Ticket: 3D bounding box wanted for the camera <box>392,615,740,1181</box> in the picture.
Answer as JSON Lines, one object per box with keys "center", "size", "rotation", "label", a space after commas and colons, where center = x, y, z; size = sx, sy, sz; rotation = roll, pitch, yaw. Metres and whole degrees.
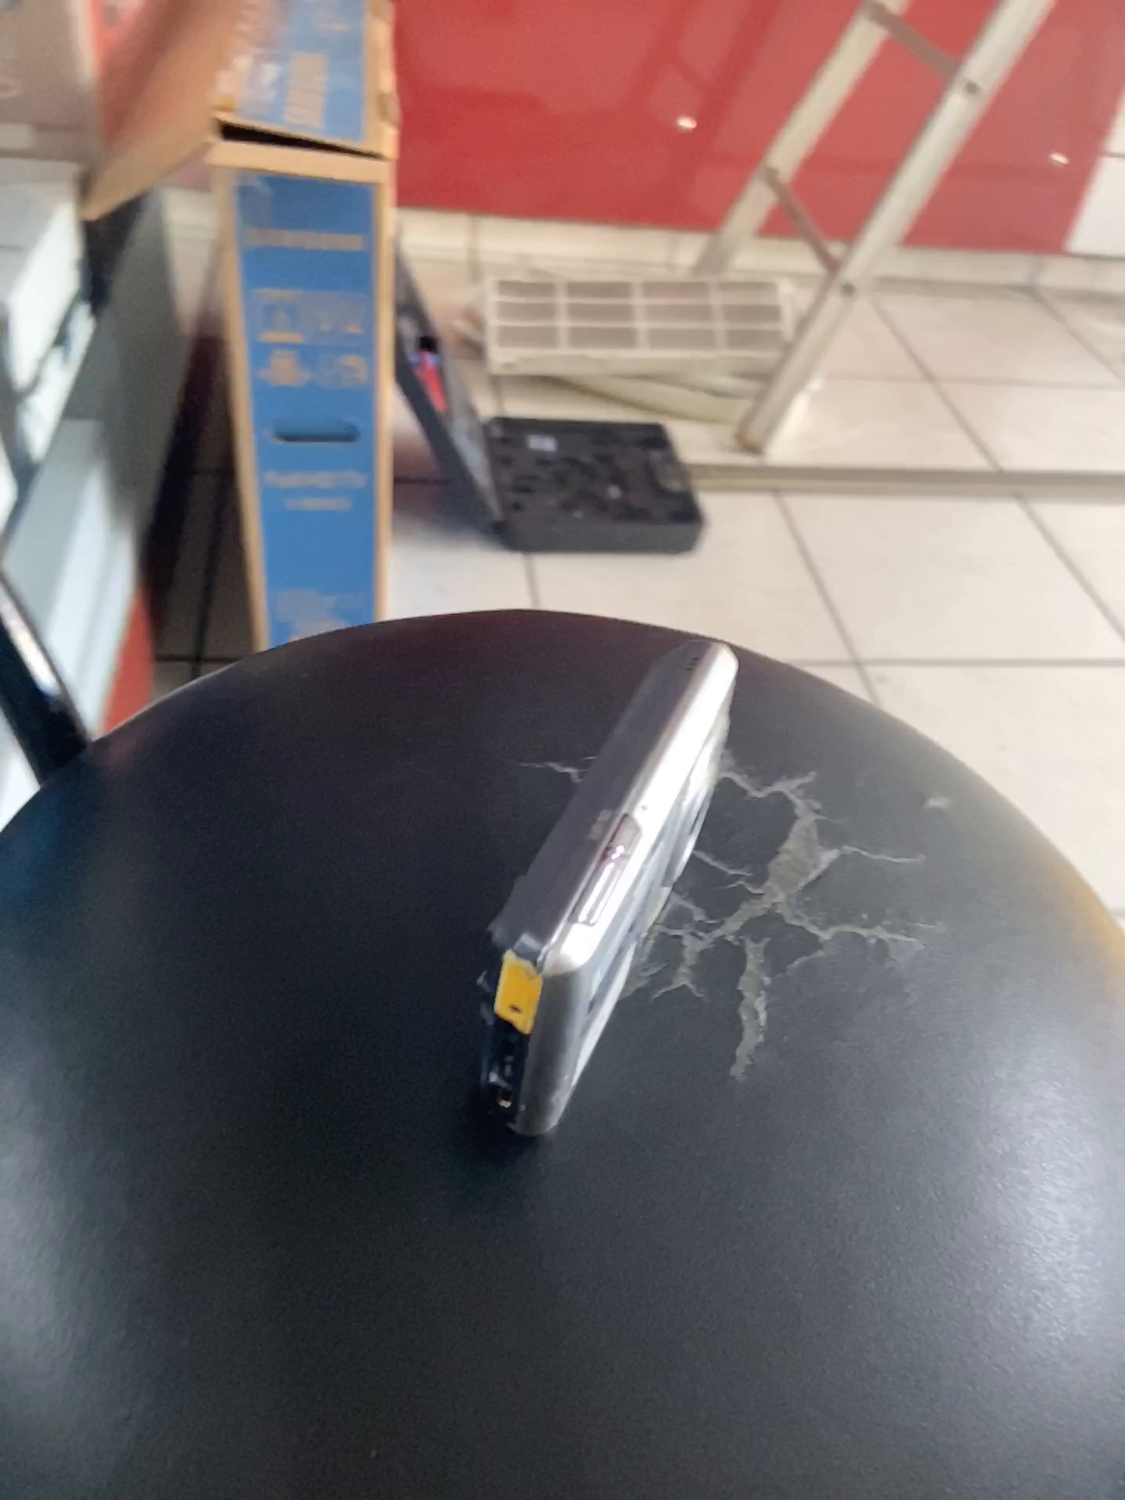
{"center": [0.003, 0.026, 0.244], "size": [0.030, 0.060, 0.101], "rotation": [20, 44, 12], "label": "camera"}
